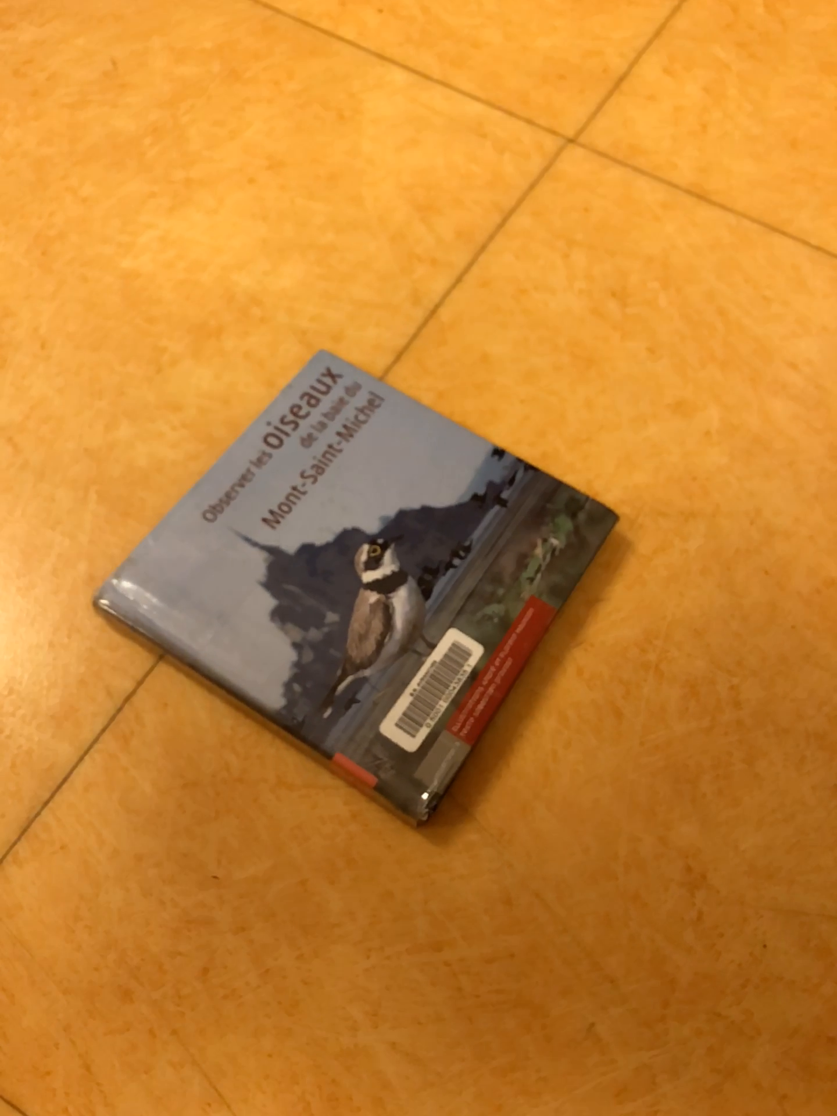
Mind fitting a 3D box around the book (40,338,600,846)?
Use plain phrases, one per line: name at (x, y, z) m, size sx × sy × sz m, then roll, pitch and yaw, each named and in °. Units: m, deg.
book at (-0.034, 0.002, 0.367) m, size 0.156 × 0.015 × 0.153 m, roll 31°, pitch 65°, yaw 13°
